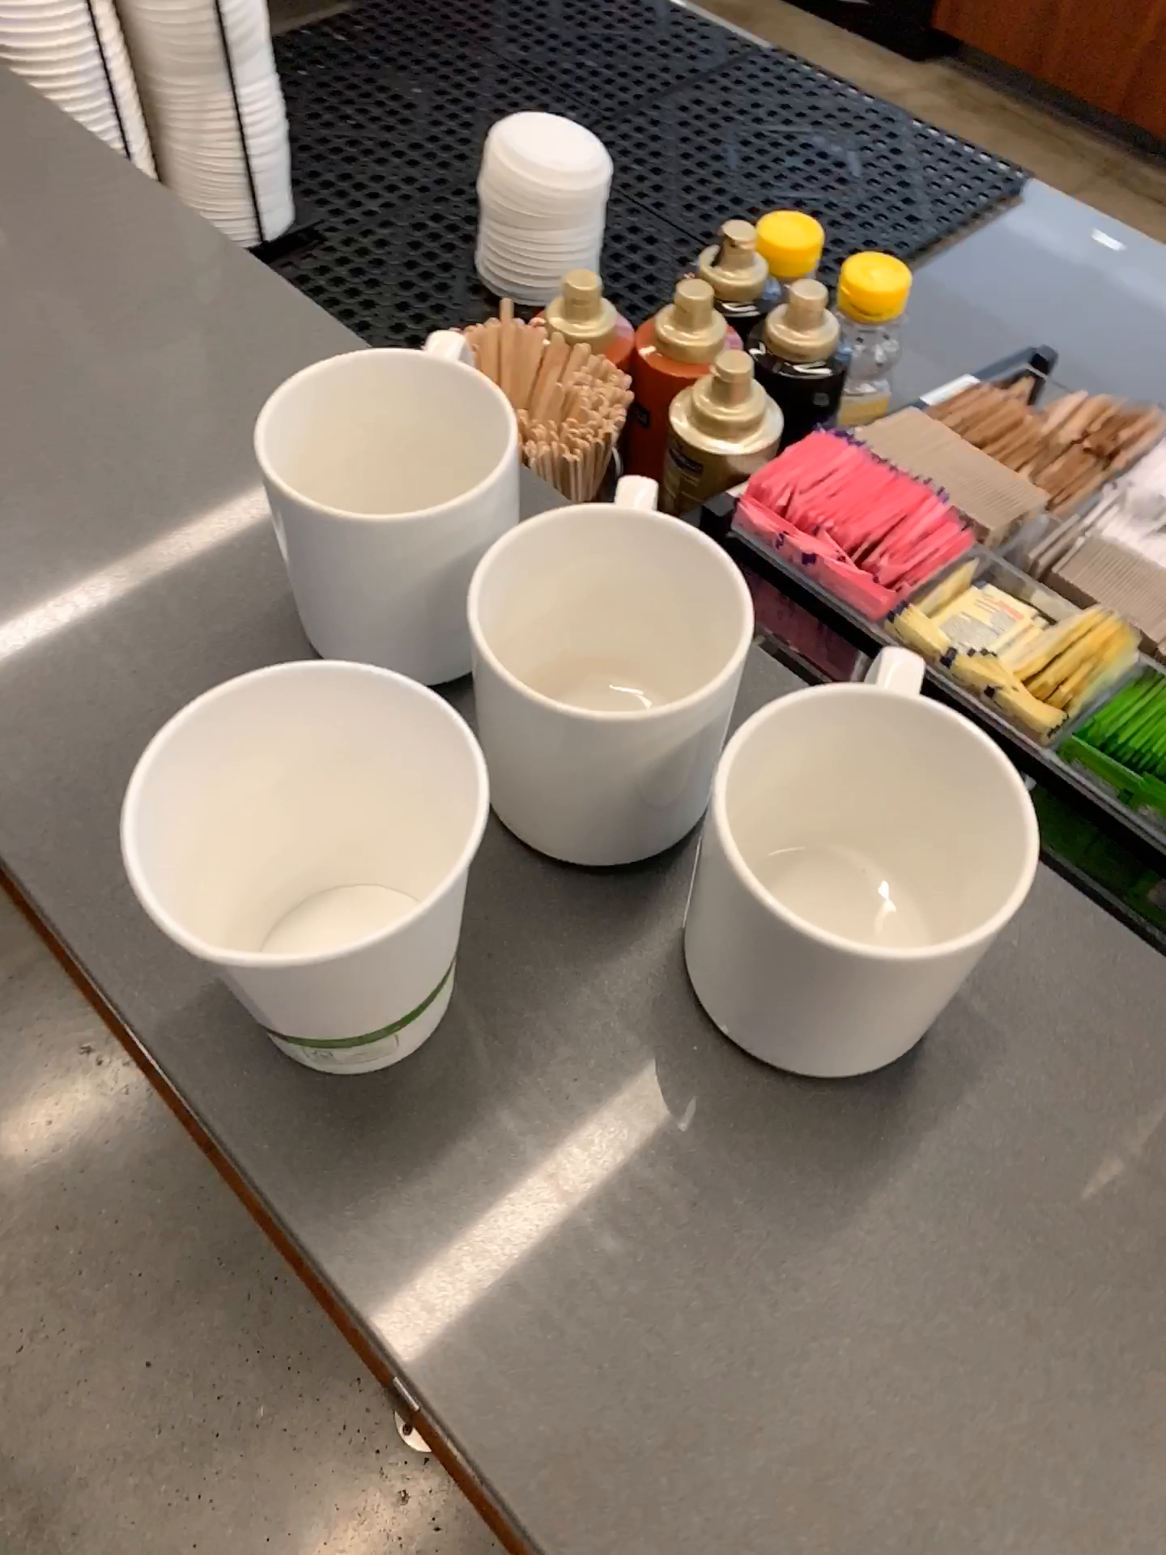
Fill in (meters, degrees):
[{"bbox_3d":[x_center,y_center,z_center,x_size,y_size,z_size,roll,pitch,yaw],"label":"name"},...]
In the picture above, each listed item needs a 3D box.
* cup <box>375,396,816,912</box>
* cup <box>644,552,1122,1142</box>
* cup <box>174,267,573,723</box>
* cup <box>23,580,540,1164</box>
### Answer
[{"bbox_3d":[0.008,-0.043,0.399,0.100,0.080,0.130,16,57,9],"label":"cup"},{"bbox_3d":[0.090,0.020,0.369,0.100,0.090,0.130,18,57,10],"label":"cup"},{"bbox_3d":[-0.067,-0.105,0.436,0.090,0.080,0.130,15,56,8],"label":"cup"},{"bbox_3d":[-0.076,0.029,0.339,0.090,0.110,0.090,1,56,-2],"label":"cup"}]
